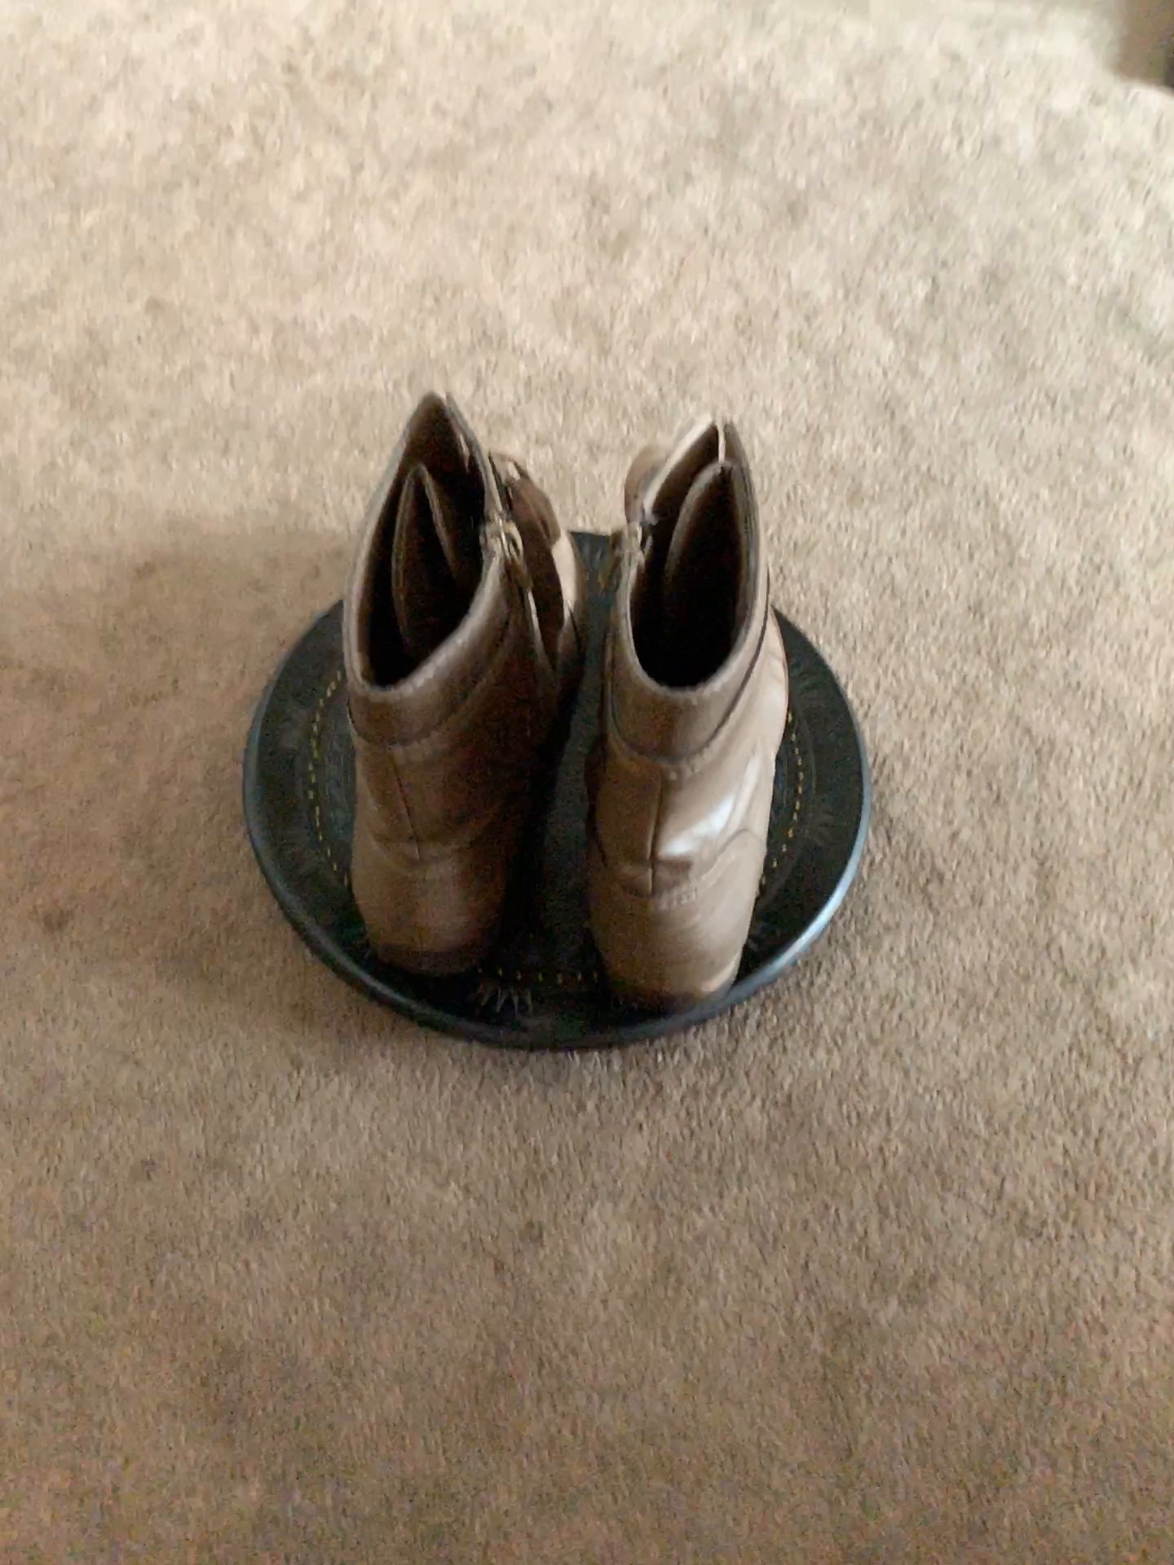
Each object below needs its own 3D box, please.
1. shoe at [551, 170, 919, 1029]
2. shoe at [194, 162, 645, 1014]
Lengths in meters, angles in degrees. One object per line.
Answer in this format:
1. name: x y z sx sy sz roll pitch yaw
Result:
1. shoe: 0.054 -0.072 0.487 0.100 0.198 0.272 7 56 3
2. shoe: -0.045 -0.077 0.491 0.100 0.198 0.272 7 56 3
